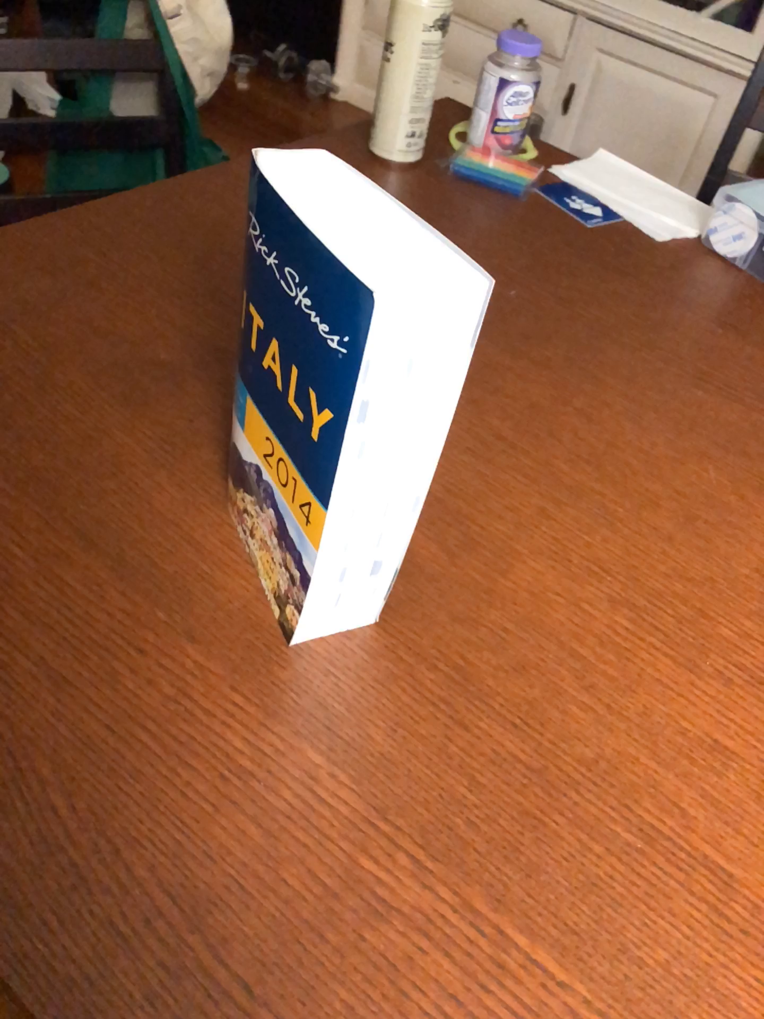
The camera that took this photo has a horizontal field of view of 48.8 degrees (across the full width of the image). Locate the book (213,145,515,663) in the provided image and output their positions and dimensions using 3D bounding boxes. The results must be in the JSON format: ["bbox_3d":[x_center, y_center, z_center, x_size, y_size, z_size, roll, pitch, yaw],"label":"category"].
[{"bbox_3d":[-0.025,-0.044,0.399,0.050,0.199,0.130,-12,49,-29],"label":"book"}]
